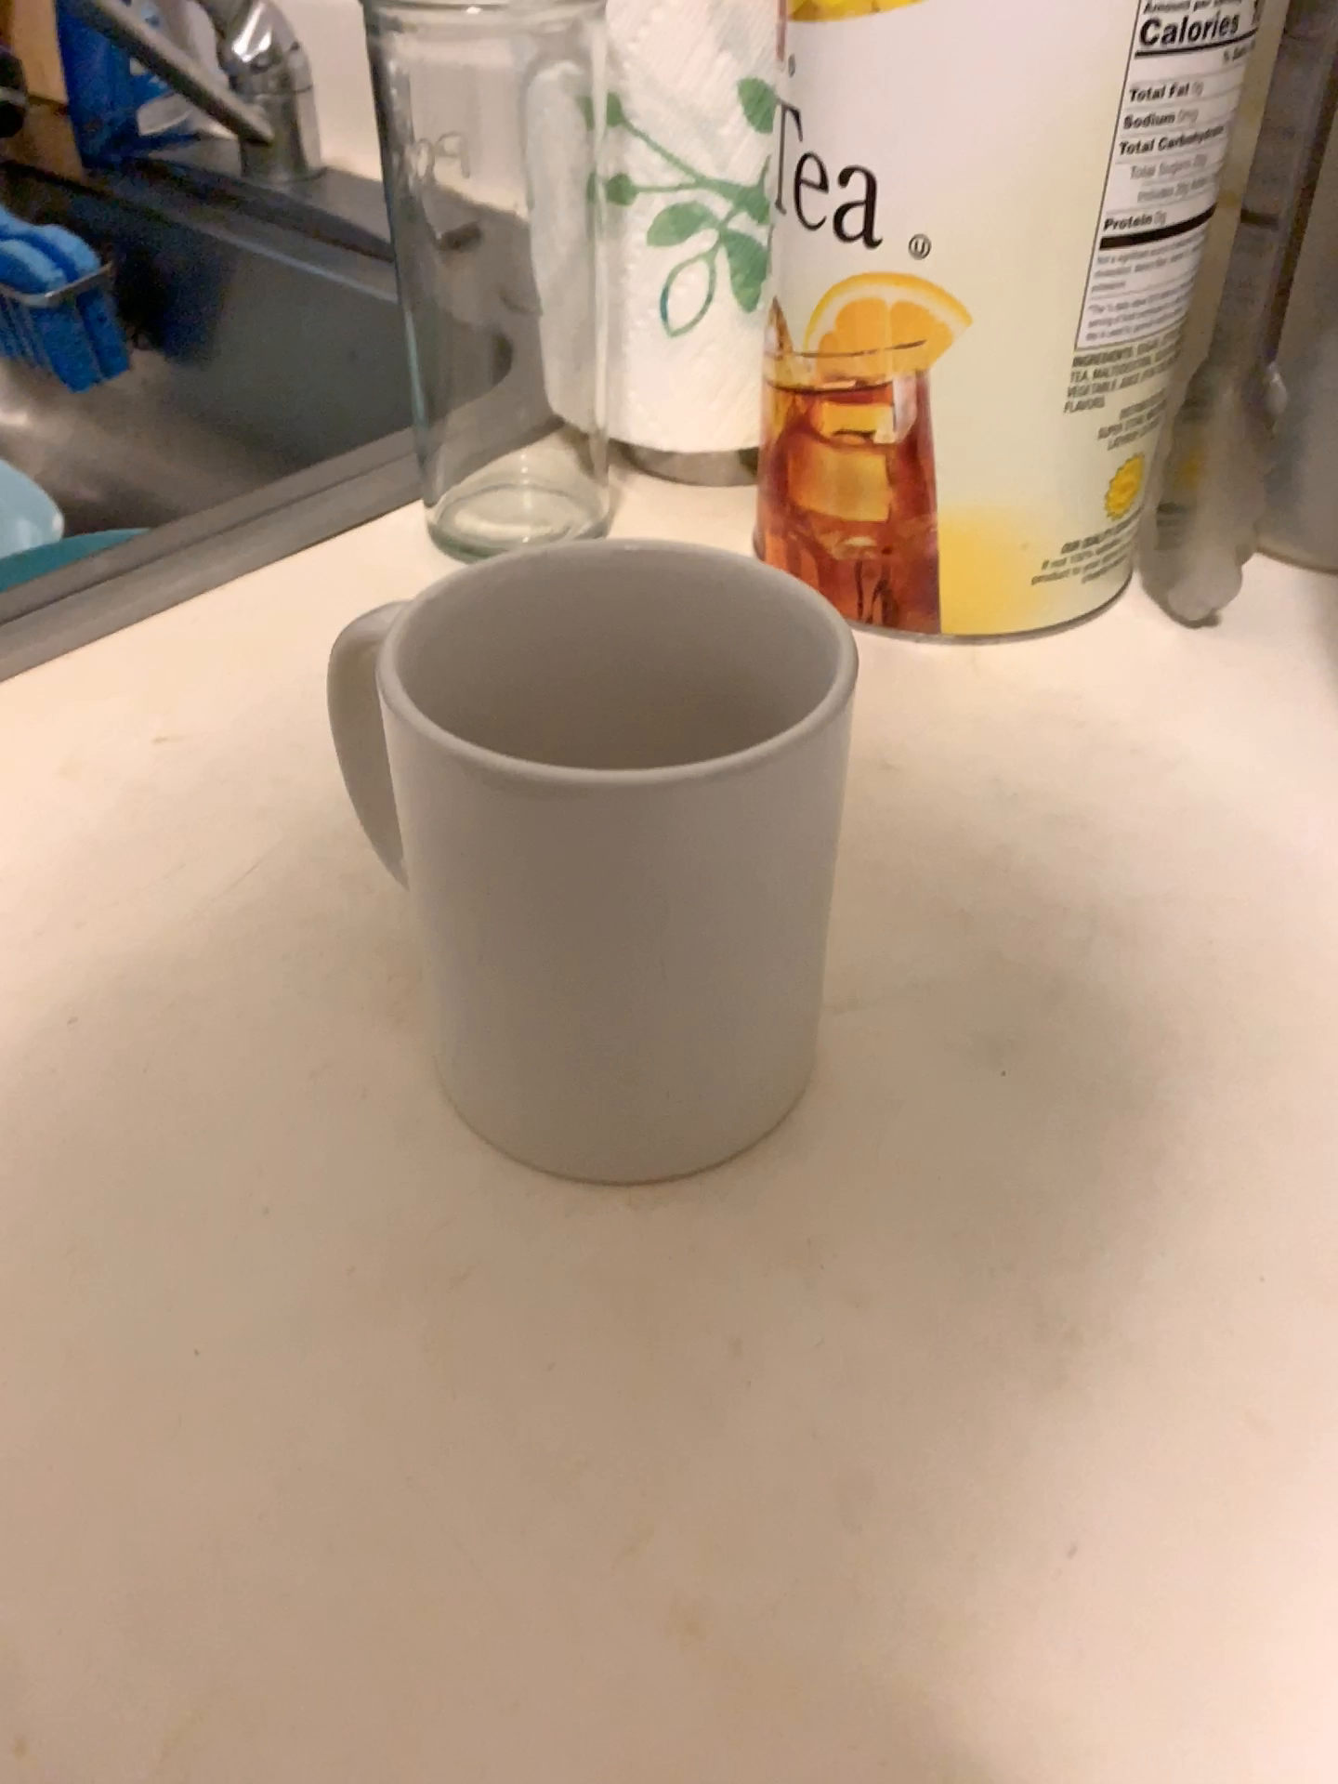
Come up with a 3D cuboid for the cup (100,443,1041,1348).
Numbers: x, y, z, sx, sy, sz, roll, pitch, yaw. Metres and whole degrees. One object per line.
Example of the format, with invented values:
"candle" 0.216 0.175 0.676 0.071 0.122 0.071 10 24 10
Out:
"cup" -0.018 -0.006 0.280 0.140 0.109 0.090 24 45 24
